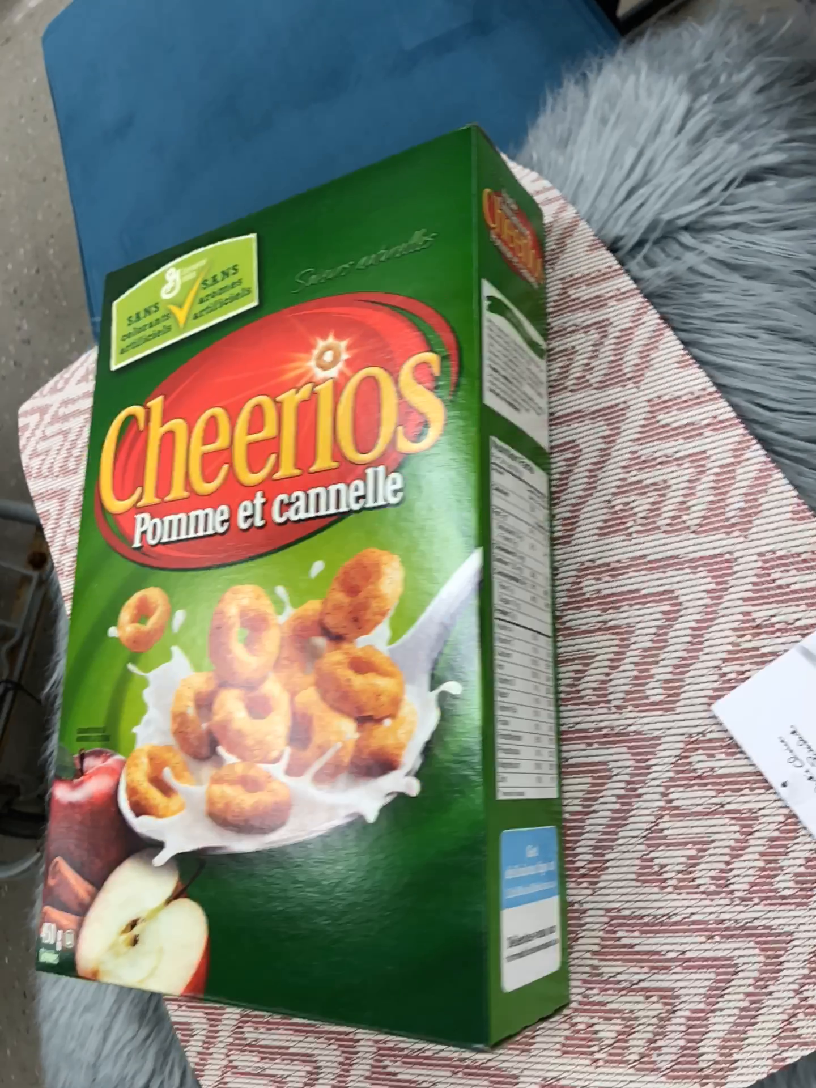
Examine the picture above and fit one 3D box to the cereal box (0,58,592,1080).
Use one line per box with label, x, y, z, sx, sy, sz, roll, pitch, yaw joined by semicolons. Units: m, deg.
cereal box;-0.053;0.007;0.347;0.211;0.070;0.310;-8;75;27
